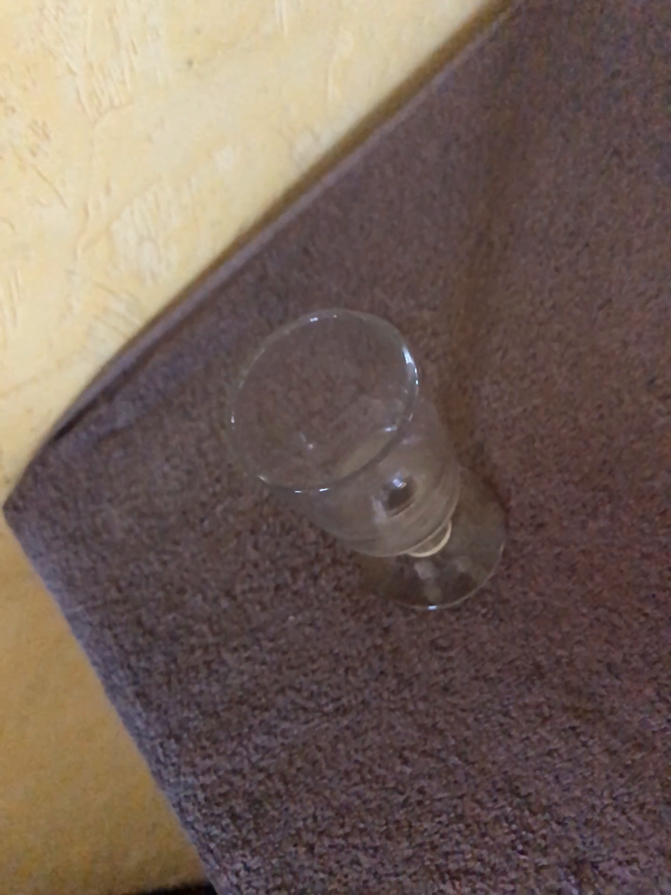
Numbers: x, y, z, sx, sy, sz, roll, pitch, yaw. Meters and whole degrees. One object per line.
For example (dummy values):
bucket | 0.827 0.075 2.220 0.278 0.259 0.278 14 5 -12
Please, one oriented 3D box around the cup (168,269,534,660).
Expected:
cup | 0.011 0.014 0.231 0.060 0.110 0.060 -9 63 18
